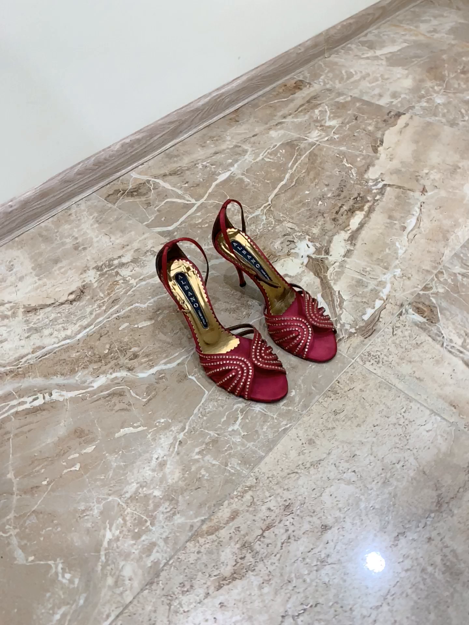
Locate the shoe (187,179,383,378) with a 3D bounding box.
[{"bbox_3d":[0.054,-0.049,0.610,0.090,0.129,0.231,-36,56,-24],"label":"shoe"}]

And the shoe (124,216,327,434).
[{"bbox_3d":[-0.015,0.008,0.569,0.090,0.129,0.231,-36,56,-24],"label":"shoe"}]
